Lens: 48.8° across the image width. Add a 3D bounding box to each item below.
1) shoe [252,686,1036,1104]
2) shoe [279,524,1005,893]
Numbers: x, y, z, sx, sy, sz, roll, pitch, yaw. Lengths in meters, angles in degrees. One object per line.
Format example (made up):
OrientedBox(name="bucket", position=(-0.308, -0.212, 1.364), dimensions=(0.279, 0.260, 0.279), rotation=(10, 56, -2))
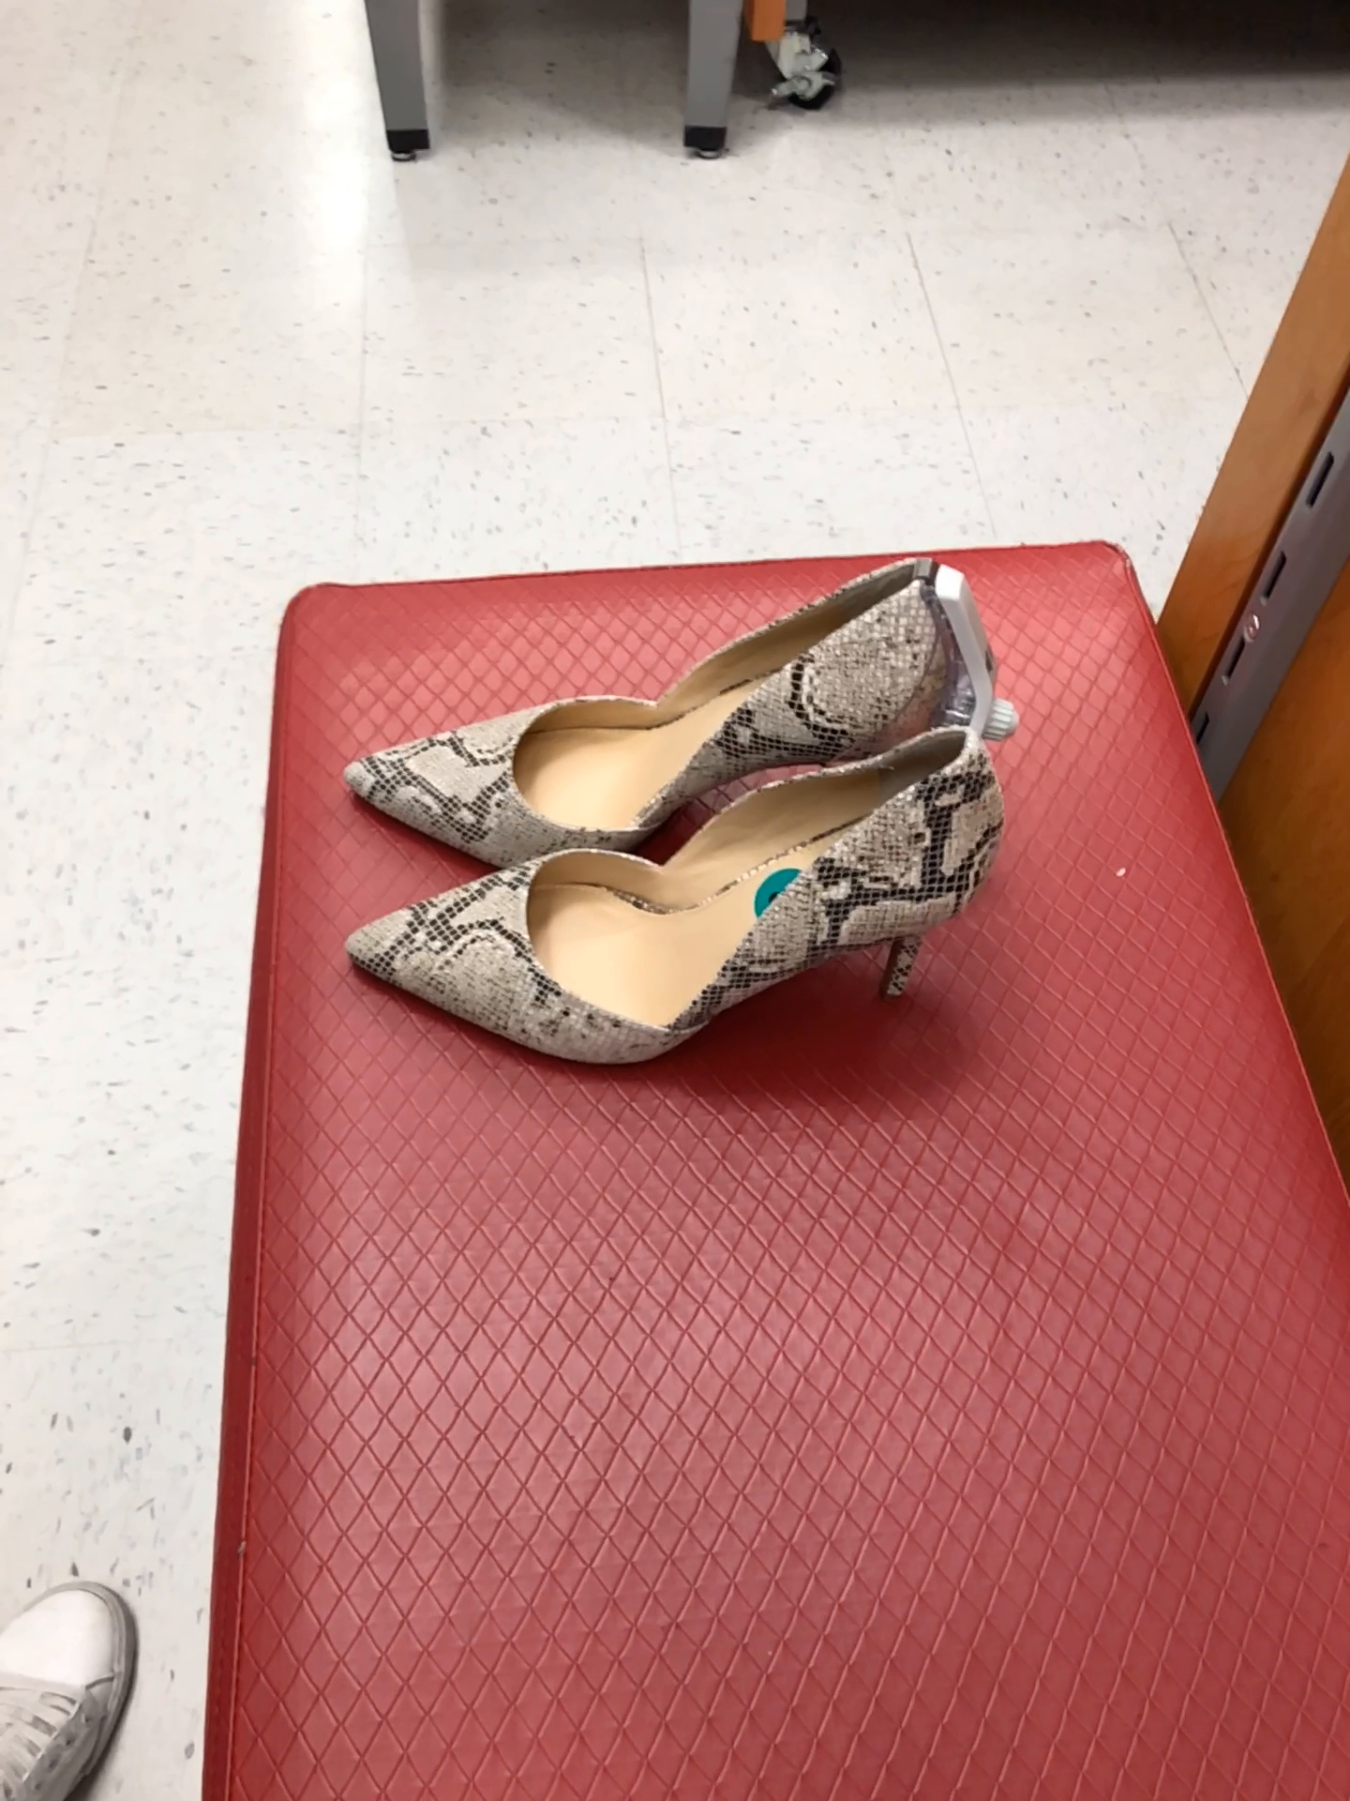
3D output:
OrientedBox(name="shoe", position=(-0.008, 0.000, 0.558), dimensions=(0.259, 0.102, 0.093), rotation=(5, 56, 2))
OrientedBox(name="shoe", position=(-0.012, -0.076, 0.609), dimensions=(0.262, 0.112, 0.092), rotation=(1, 56, 0))
